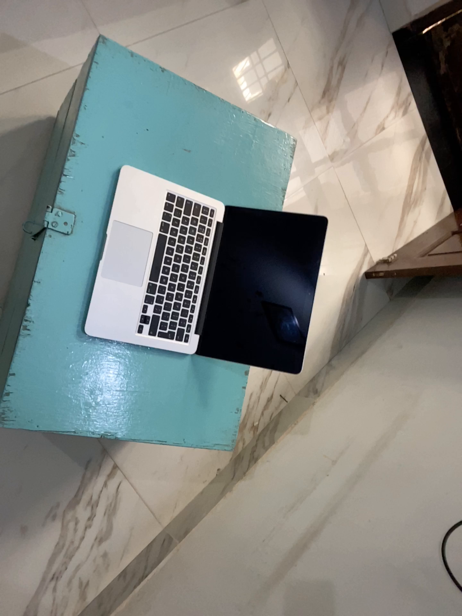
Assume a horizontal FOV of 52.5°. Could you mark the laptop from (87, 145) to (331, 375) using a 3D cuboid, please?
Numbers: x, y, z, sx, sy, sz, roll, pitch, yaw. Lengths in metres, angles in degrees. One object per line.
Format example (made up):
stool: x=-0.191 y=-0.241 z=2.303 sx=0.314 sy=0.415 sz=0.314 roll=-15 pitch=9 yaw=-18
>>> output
laptop: x=-0.028 y=-0.065 z=0.878 sx=0.378 sy=0.148 sz=0.313 roll=14 pitch=83 yaw=-30
